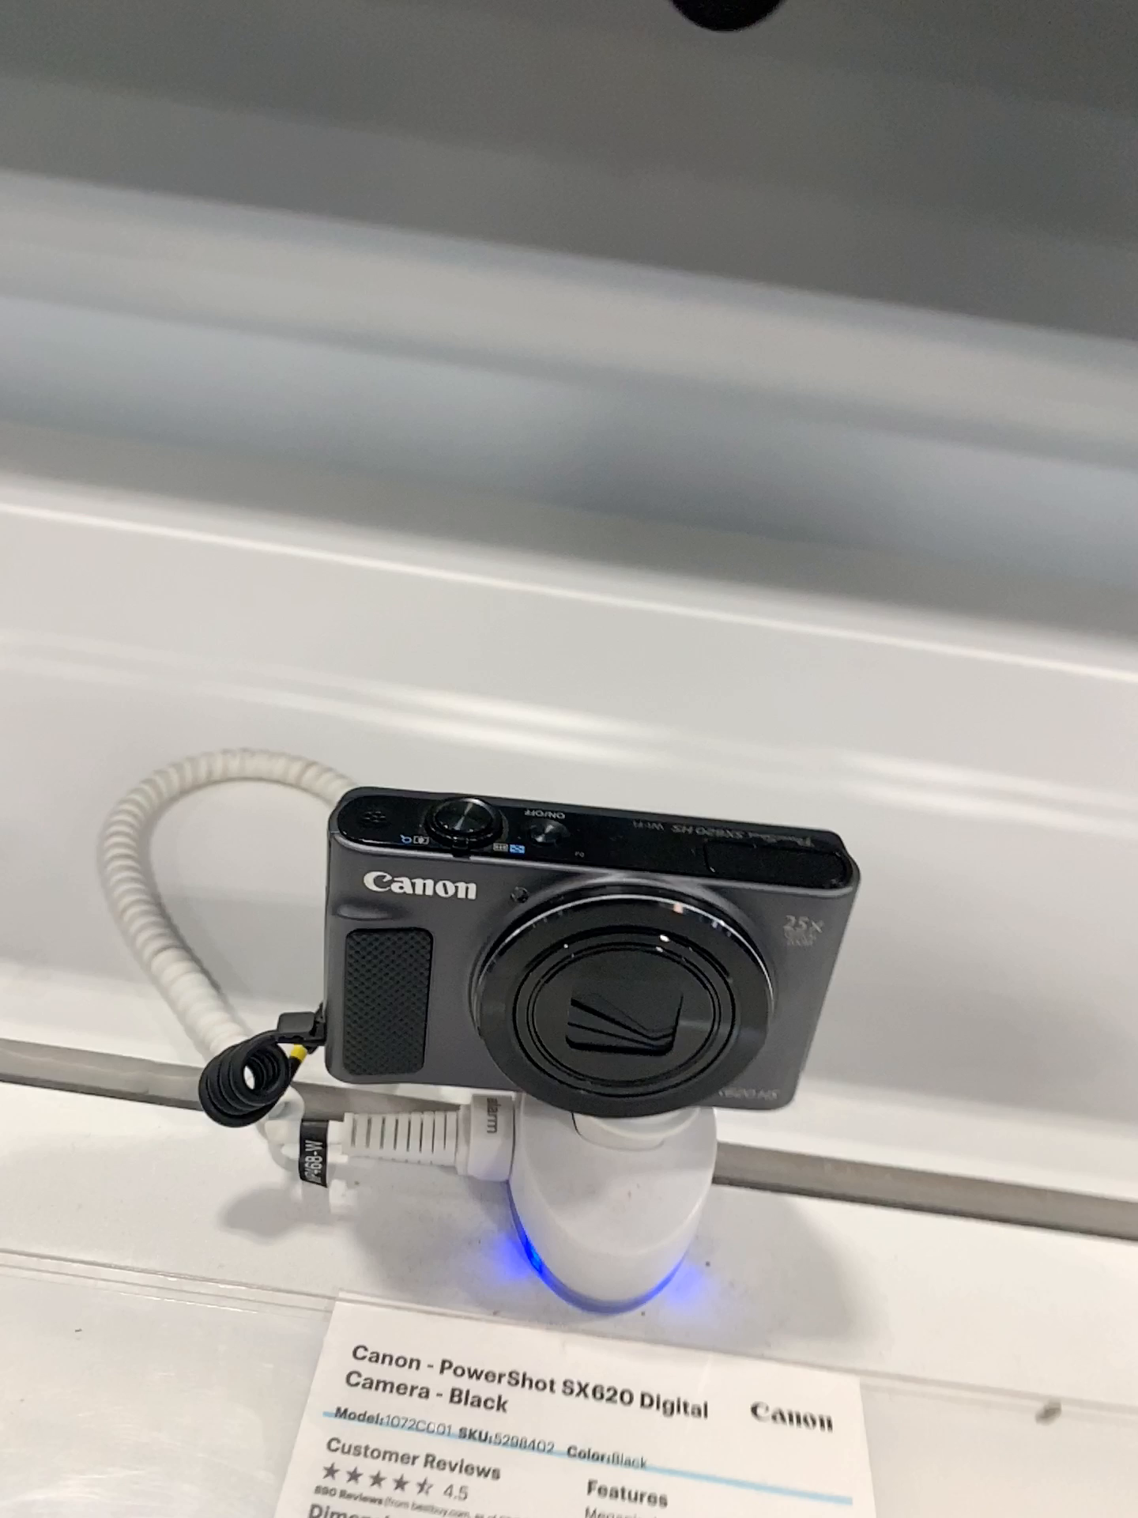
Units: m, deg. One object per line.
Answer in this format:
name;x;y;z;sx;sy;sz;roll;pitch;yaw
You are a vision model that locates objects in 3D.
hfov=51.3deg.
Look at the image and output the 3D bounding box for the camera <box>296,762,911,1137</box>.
camera;0.004;0.036;0.219;0.100;0.050;0.031;7;30;-5
